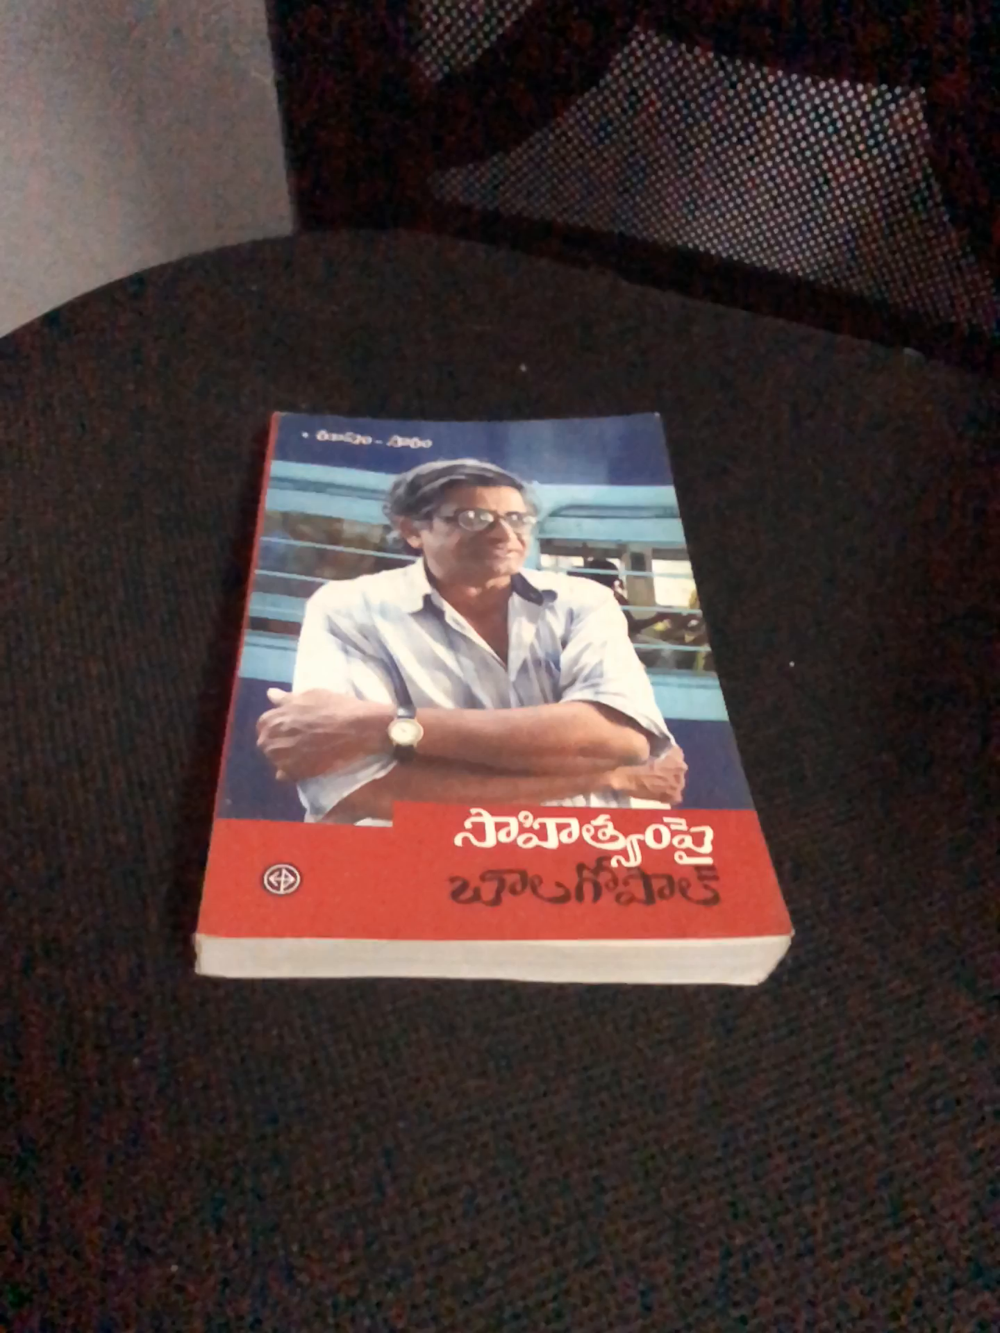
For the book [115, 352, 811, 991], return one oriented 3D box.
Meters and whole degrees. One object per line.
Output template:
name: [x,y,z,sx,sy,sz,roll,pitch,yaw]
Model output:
book: [-0.013,-0.015,0.329,0.152,0.030,0.225,2,46,-7]
